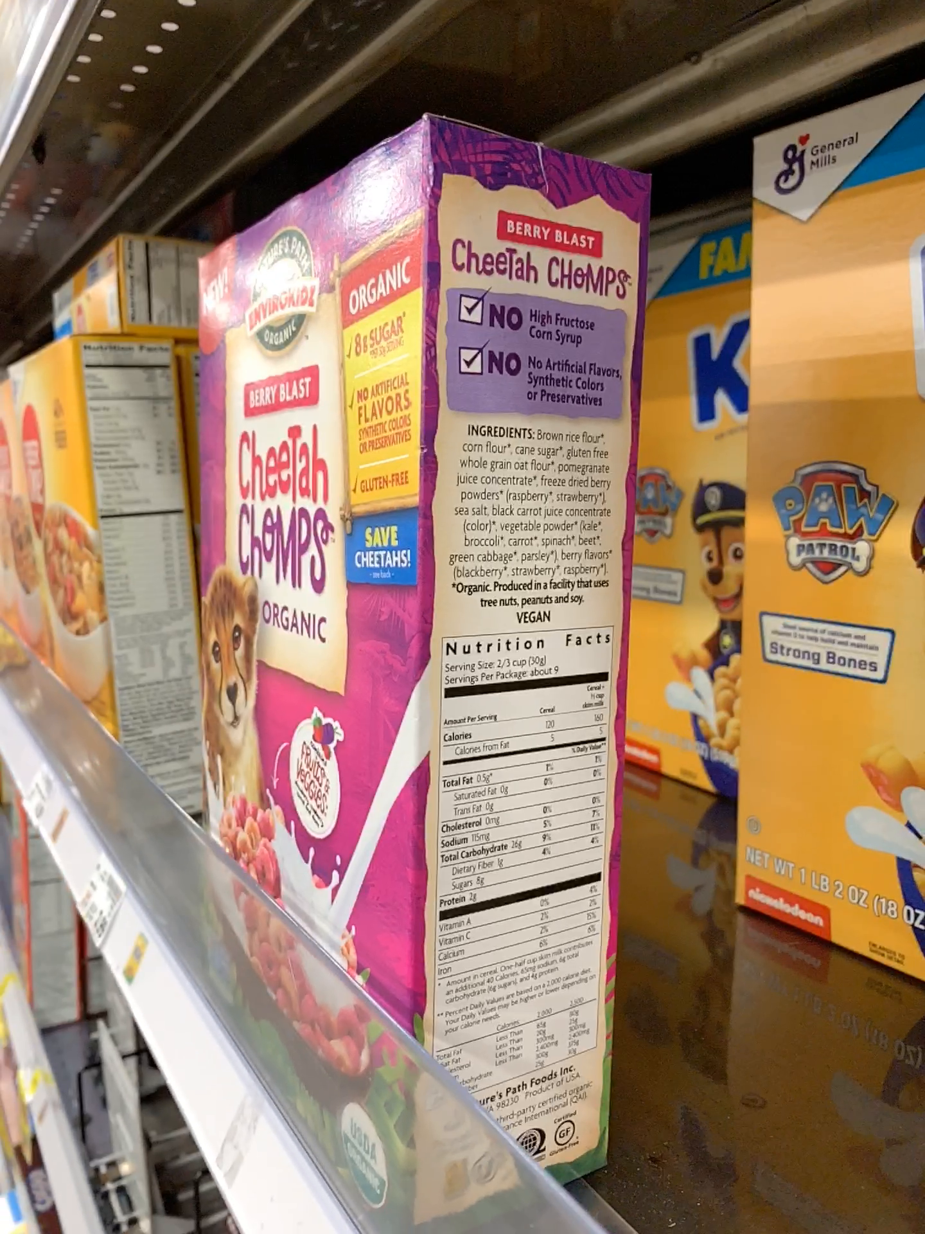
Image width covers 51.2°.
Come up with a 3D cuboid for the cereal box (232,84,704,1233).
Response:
[{"bbox_3d":[-0.015,0.017,0.290,0.060,0.270,0.160,-2,8,-31],"label":"cereal box"}]
